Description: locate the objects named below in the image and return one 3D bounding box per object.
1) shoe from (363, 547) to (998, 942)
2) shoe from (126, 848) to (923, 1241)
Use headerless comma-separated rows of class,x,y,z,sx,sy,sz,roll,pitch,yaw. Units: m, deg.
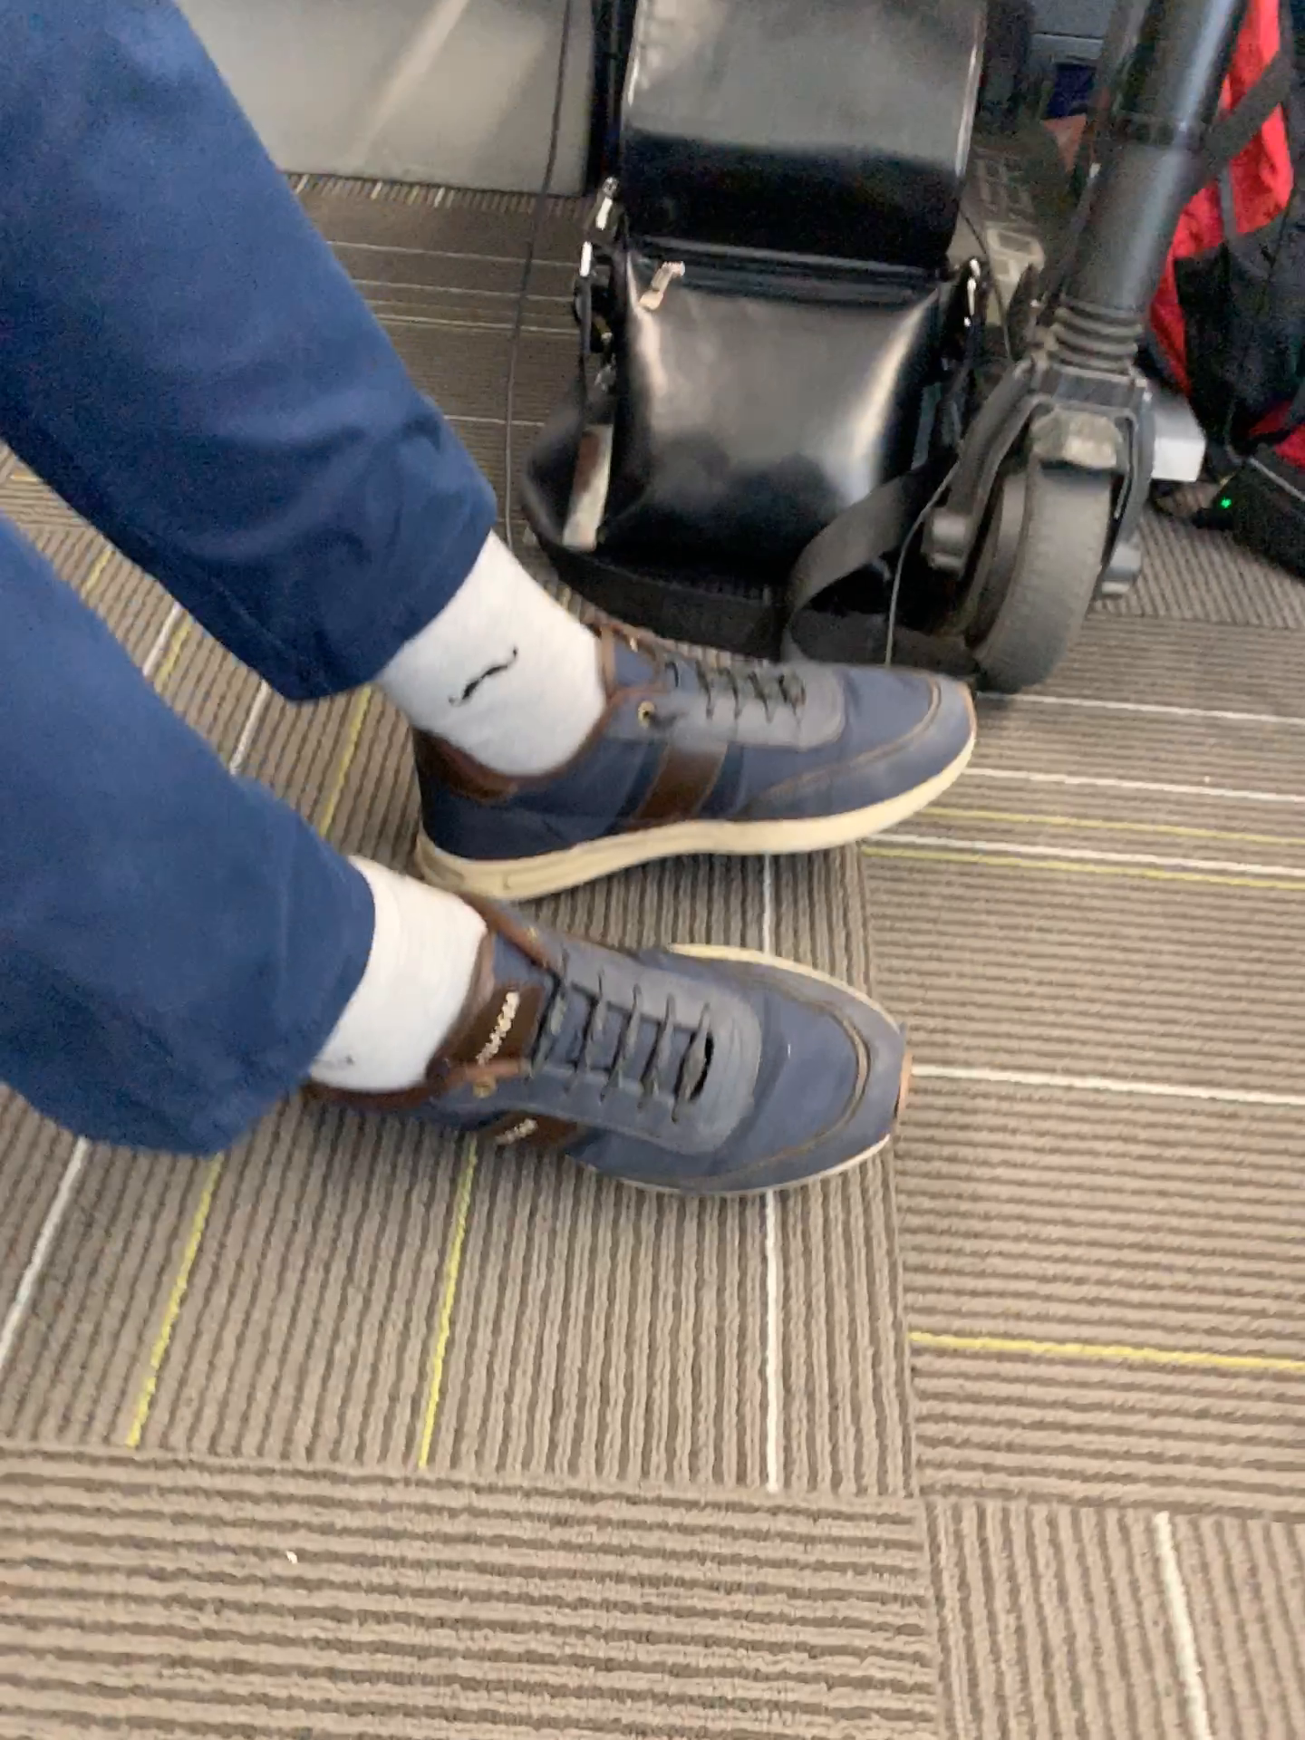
shoe,0.015,-0.065,0.700,0.300,0.099,0.121,-10,47,4
shoe,-0.052,0.075,0.593,0.320,0.100,0.120,5,74,16
